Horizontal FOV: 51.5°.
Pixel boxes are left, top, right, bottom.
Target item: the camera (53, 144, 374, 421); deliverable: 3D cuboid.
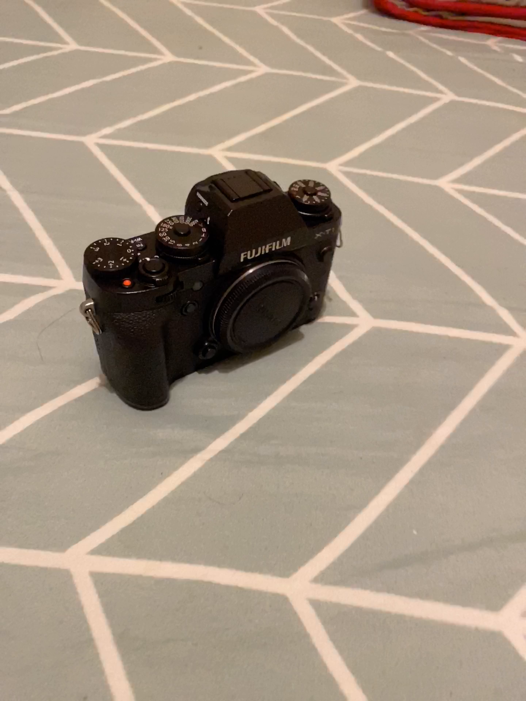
[{"bbox_3d":[-0.021,-0.035,0.269,0.130,0.087,0.052,-24,57,-24],"label":"camera"}]
